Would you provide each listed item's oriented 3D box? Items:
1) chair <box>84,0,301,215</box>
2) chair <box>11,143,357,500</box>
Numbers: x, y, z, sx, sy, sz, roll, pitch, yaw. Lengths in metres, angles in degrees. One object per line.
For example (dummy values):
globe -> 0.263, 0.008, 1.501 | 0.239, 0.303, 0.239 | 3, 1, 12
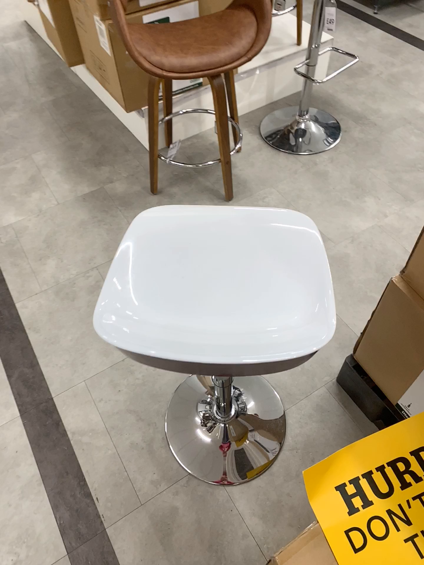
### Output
chair -> -0.080, -0.851, 1.799 | 0.643, 0.927, 0.526 | -10, 53, -5
chair -> -0.011, 0.158, 1.003 | 0.443, 0.798, 0.456 | 2, 53, 4
